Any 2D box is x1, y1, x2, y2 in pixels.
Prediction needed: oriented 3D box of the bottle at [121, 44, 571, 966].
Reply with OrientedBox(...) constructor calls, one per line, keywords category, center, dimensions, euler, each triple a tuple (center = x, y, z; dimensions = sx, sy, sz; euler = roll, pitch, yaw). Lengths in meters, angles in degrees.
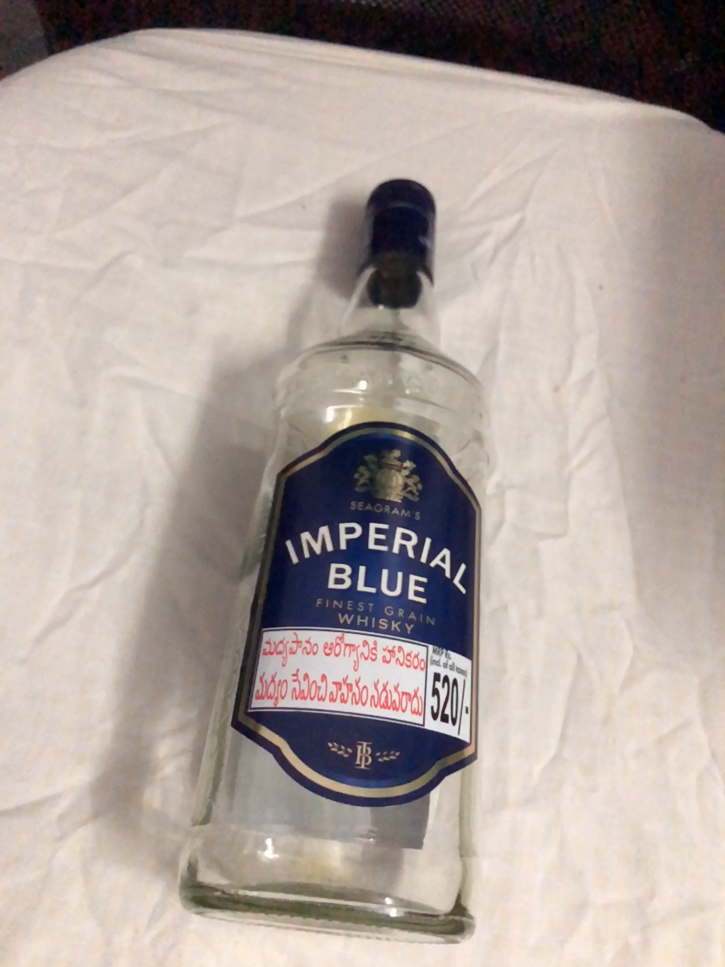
OrientedBox(category="bottle", center=(0.007, -0.002, 0.258), dimensions=(0.090, 0.080, 0.270), euler=(9, 67, -4))
